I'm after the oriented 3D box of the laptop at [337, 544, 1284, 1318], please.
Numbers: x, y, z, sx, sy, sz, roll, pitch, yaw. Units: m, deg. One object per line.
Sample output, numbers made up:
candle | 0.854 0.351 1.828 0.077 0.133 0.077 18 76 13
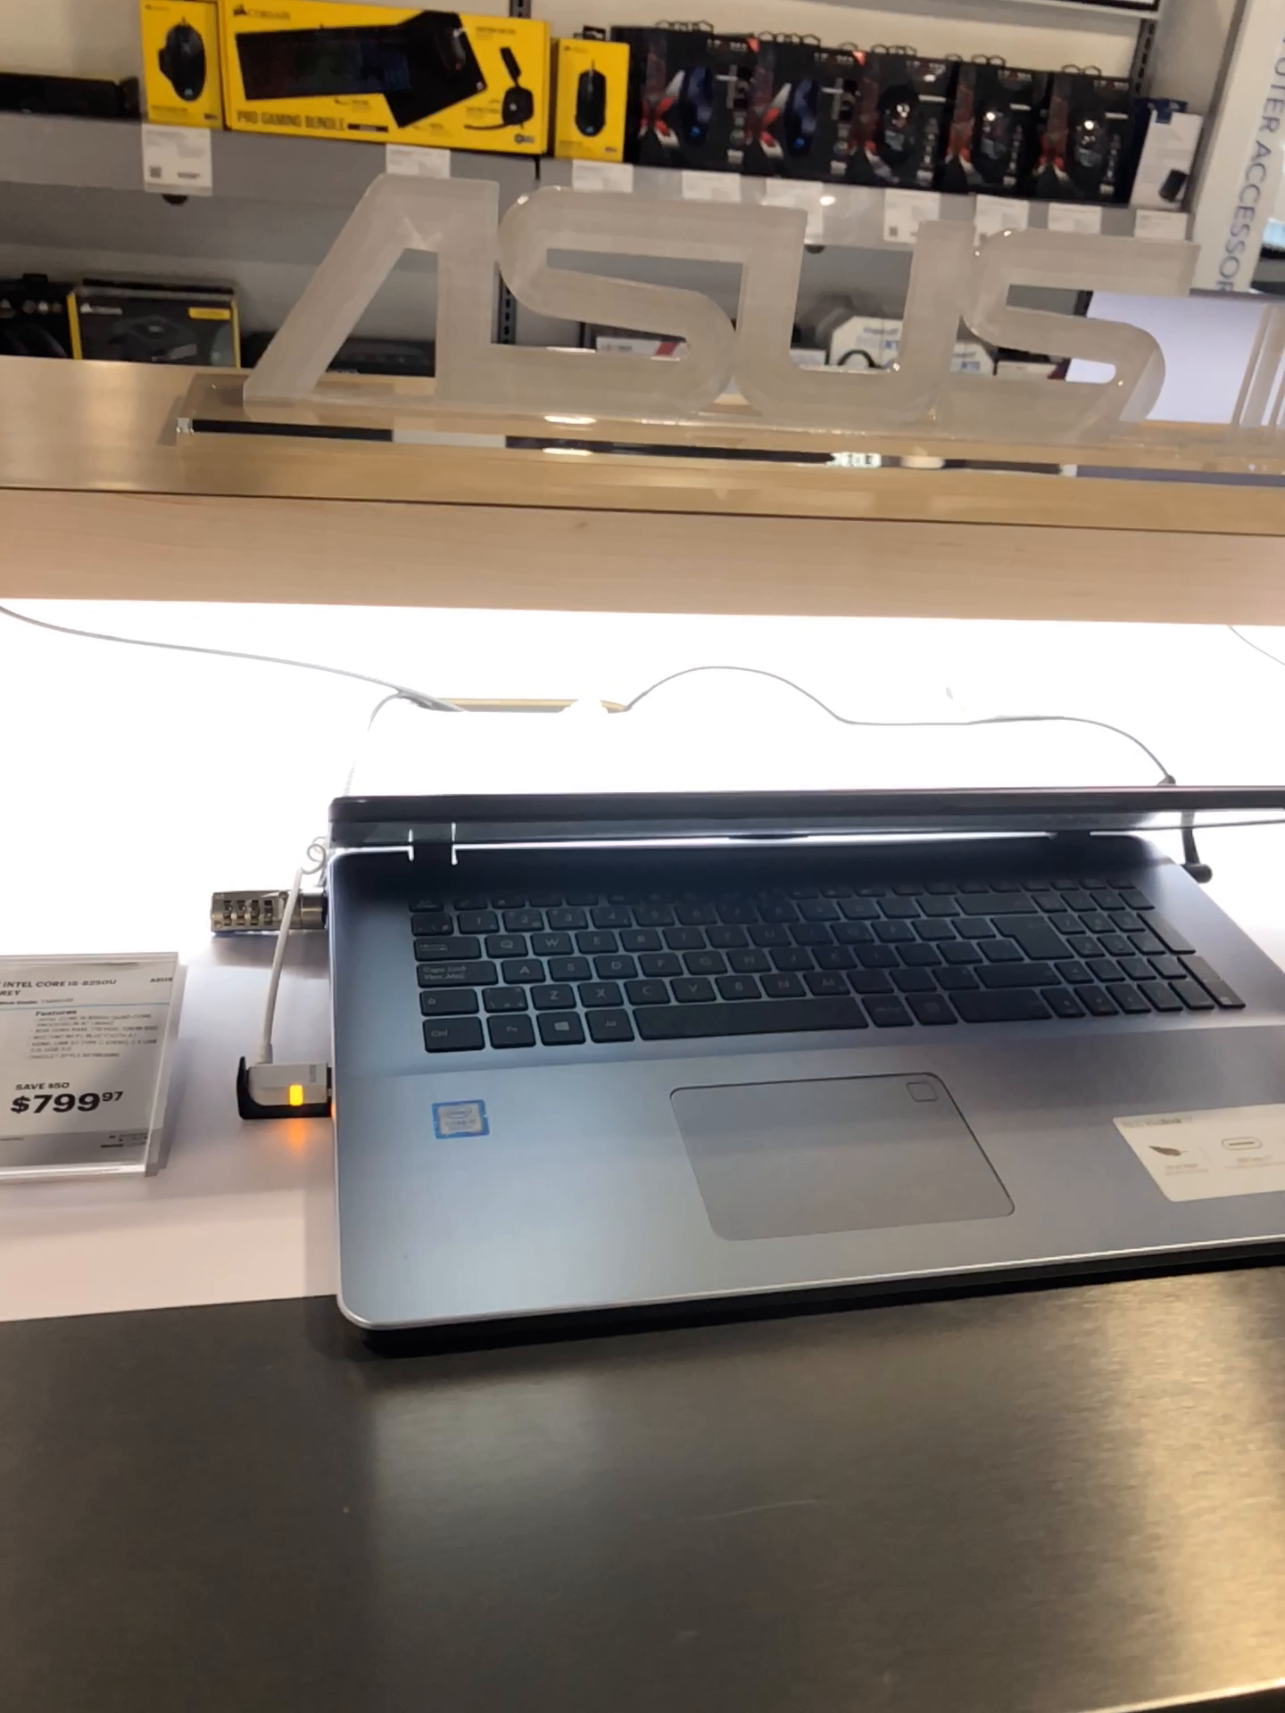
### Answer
laptop | 0.089 0.000 0.527 0.390 0.144 0.260 -1 31 -12
